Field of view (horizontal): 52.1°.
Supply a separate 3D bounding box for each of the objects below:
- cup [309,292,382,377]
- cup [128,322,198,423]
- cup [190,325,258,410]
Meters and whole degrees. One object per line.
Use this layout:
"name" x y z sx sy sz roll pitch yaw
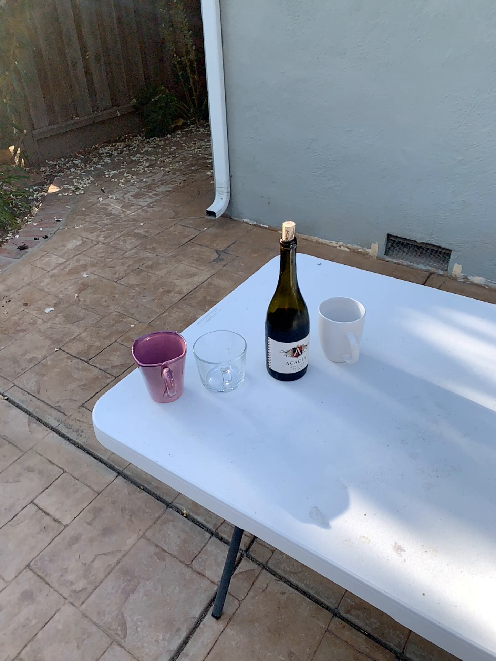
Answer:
"cup" 0.181 0.006 0.968 0.090 0.099 0.121 -9 36 -10
"cup" -0.155 0.073 0.918 0.100 0.109 0.131 -9 36 -10
"cup" -0.047 0.067 0.950 0.100 0.079 0.131 -9 36 -10
